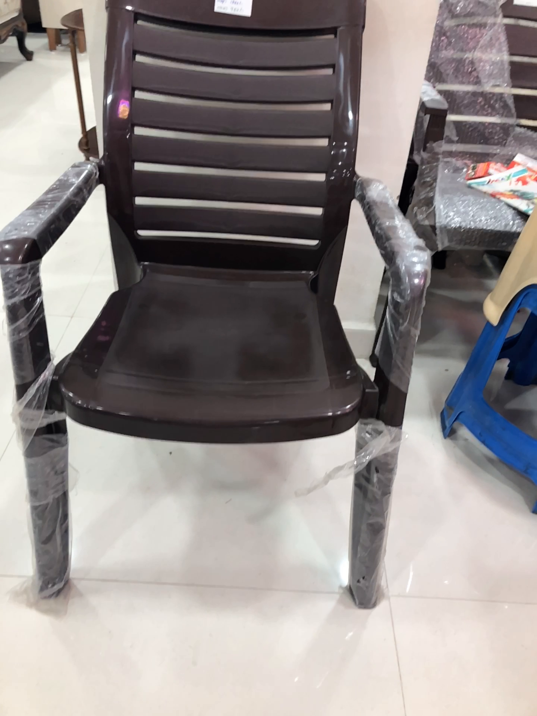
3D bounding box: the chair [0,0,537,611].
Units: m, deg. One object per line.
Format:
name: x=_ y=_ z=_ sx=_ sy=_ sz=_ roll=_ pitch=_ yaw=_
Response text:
chair: x=-0.070 y=-0.154 z=1.047 sx=0.640 sy=1.002 sz=0.675 roll=3 pitch=37 yaw=-3
